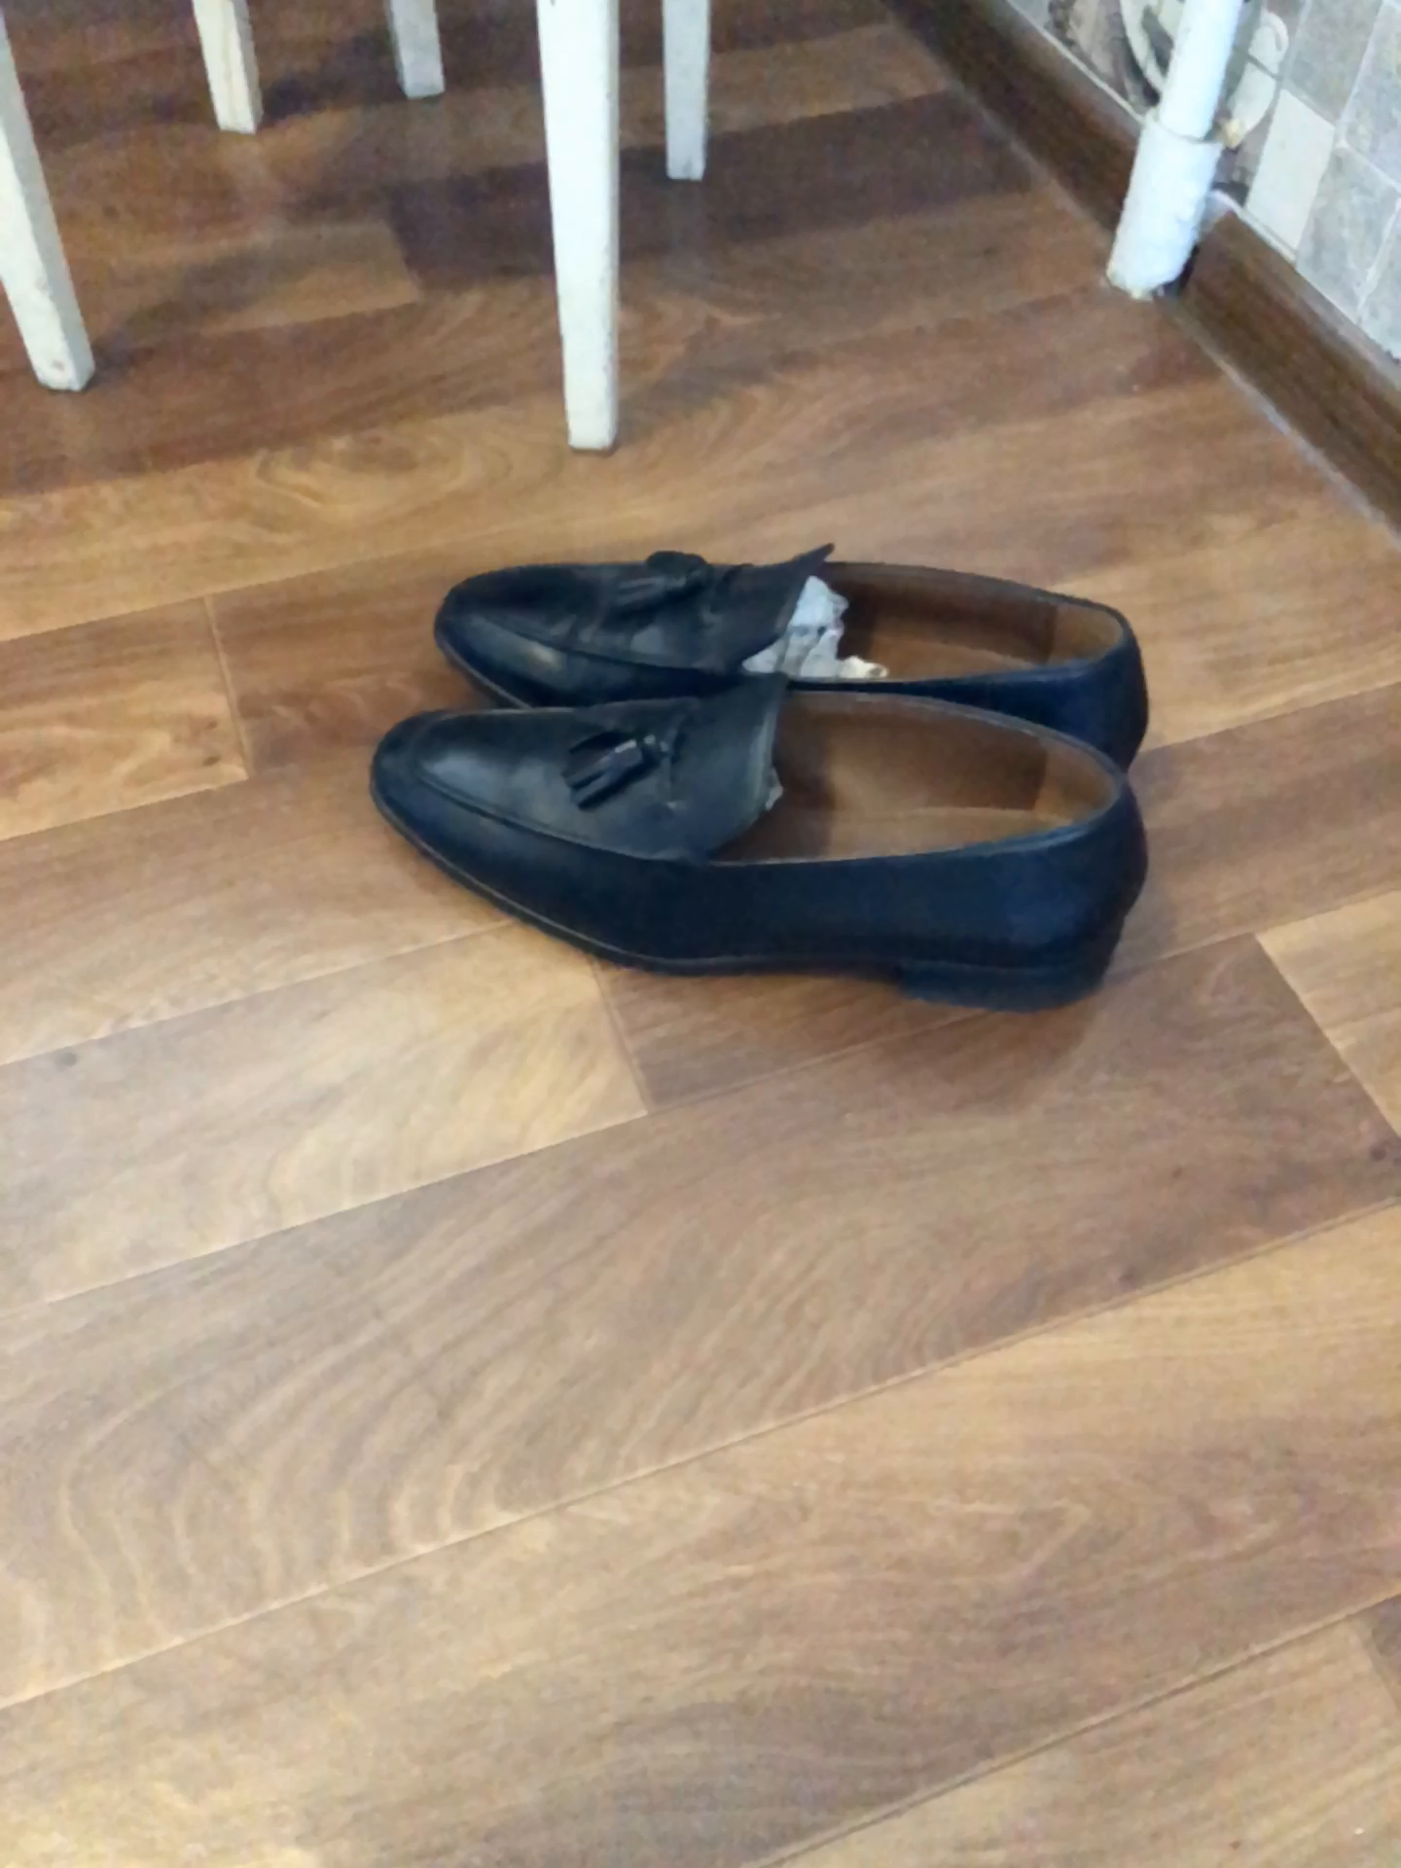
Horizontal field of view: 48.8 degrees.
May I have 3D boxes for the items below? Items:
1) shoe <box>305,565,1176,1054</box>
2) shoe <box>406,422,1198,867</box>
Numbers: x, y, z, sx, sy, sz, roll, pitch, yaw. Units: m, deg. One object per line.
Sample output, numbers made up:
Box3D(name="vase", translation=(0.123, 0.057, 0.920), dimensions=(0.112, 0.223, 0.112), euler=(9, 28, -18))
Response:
Box3D(name="shoe", translation=(0.016, -0.043, 0.501), dimensions=(0.253, 0.068, 0.101), euler=(10, 54, 7))
Box3D(name="shoe", translation=(0.038, -0.106, 0.549), dimensions=(0.253, 0.068, 0.101), euler=(11, 54, 8))
